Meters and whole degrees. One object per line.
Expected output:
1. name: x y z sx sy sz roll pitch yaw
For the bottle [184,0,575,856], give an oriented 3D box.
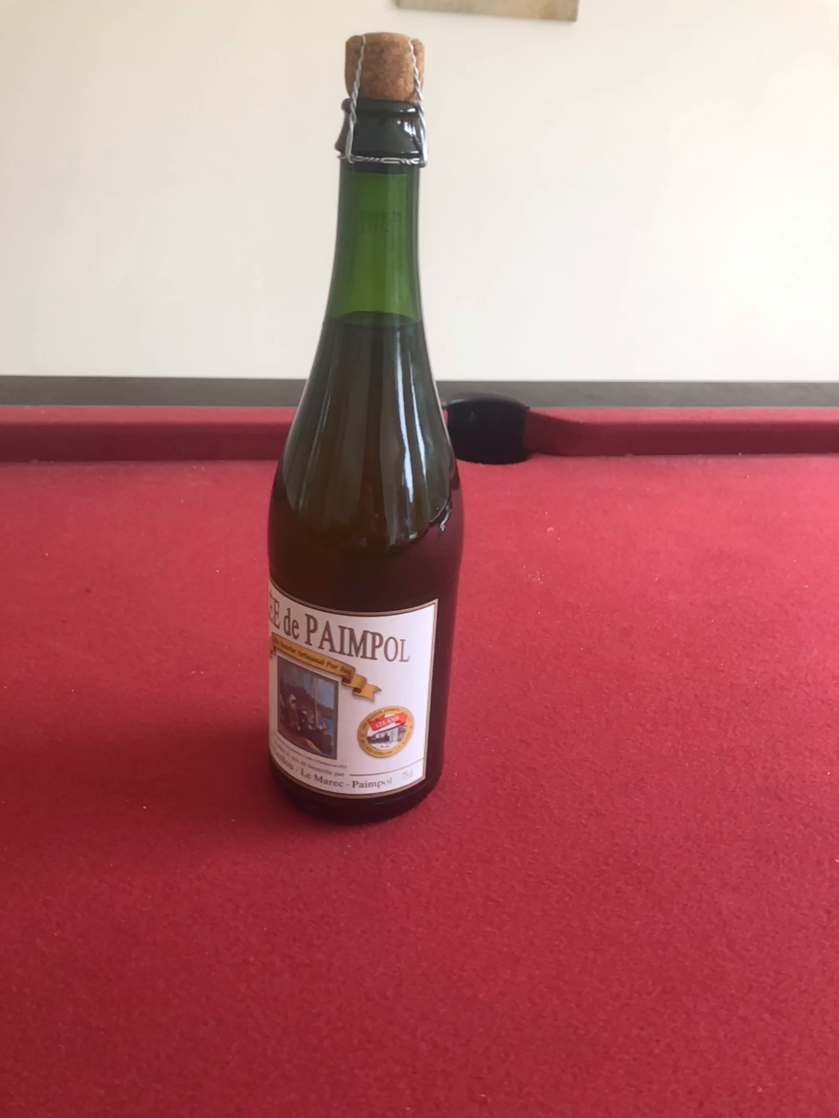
1. bottle: -0.018 -0.044 0.369 0.090 0.298 0.101 17 28 24
